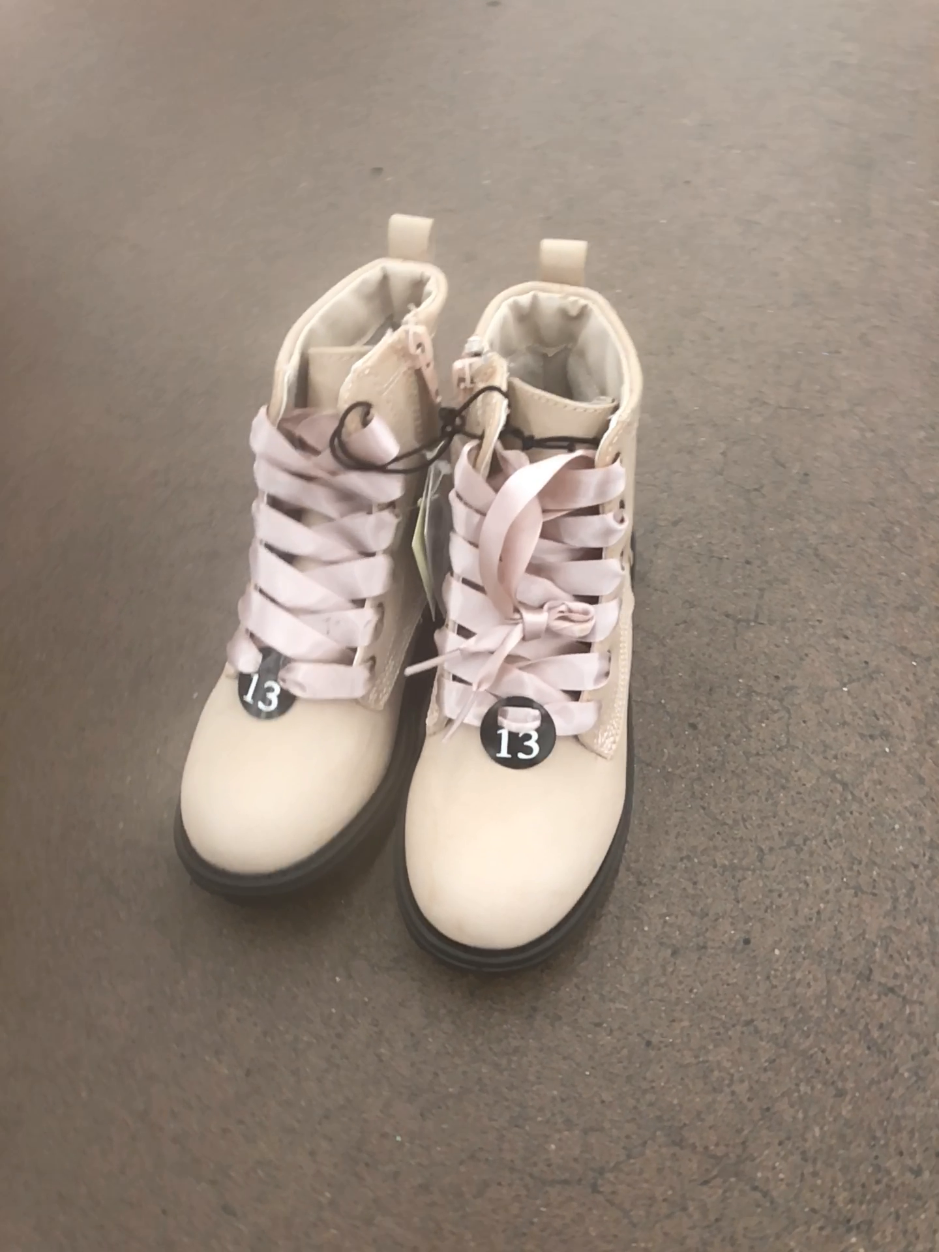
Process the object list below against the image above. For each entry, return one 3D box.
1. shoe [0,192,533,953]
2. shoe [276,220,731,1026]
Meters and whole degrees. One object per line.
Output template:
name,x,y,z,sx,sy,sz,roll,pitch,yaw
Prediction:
shoe,-0.054,-0.018,0.383,0.090,0.150,0.220,15,62,13
shoe,0.025,0.000,0.355,0.090,0.150,0.220,8,60,9
